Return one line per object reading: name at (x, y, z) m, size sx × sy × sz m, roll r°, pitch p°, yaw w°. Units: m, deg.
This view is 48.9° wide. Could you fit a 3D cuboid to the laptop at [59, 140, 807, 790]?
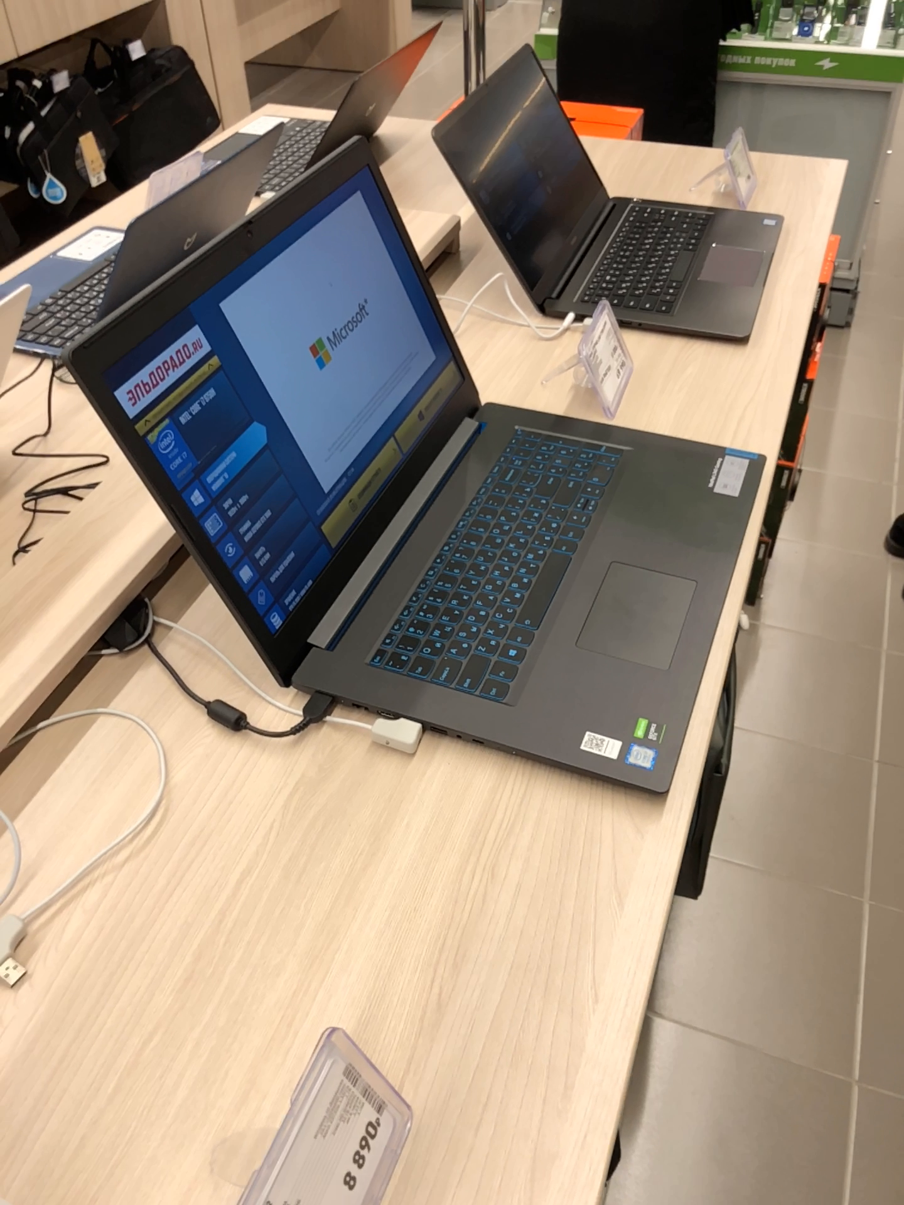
laptop at (0.021, -0.139, 0.748) m, size 0.380 × 0.242 × 0.397 m, roll 14°, pitch 44°, yaw 17°
